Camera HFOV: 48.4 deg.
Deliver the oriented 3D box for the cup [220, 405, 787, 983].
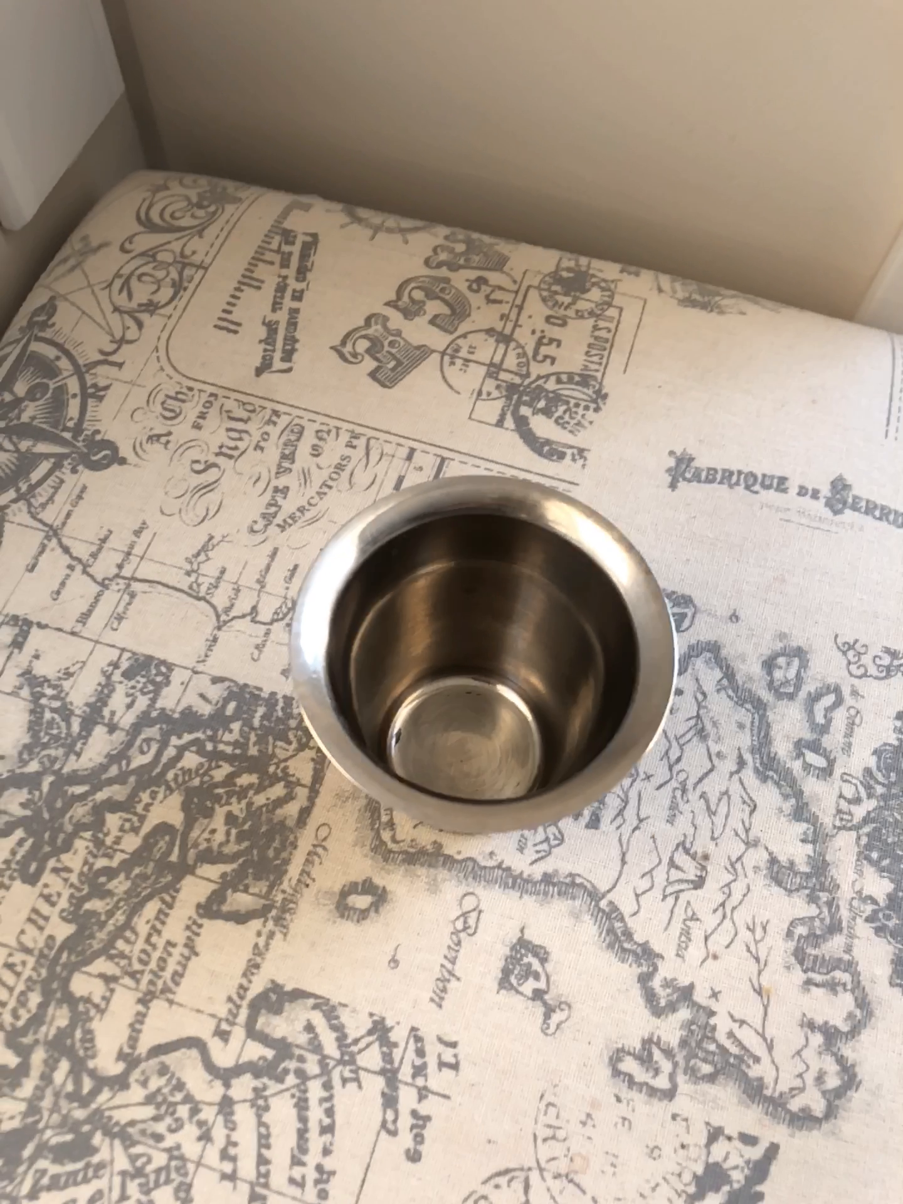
[{"bbox_3d":[0.008,0.025,0.240,0.081,0.081,0.084,1,63,-2],"label":"cup"}]
